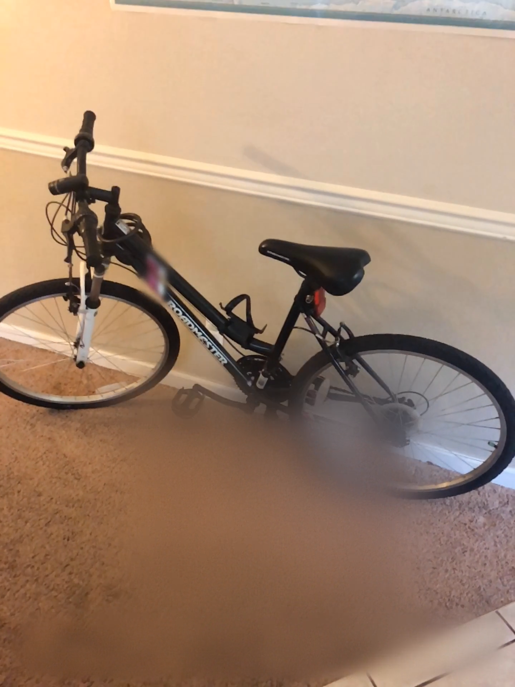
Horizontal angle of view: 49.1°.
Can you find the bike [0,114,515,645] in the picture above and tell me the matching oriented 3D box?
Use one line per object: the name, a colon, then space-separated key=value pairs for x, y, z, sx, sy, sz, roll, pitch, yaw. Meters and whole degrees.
bike: x=-0.107 y=0.048 z=1.750 sx=1.864 sy=1.177 sz=0.683 roll=9 pitch=31 yaw=9
